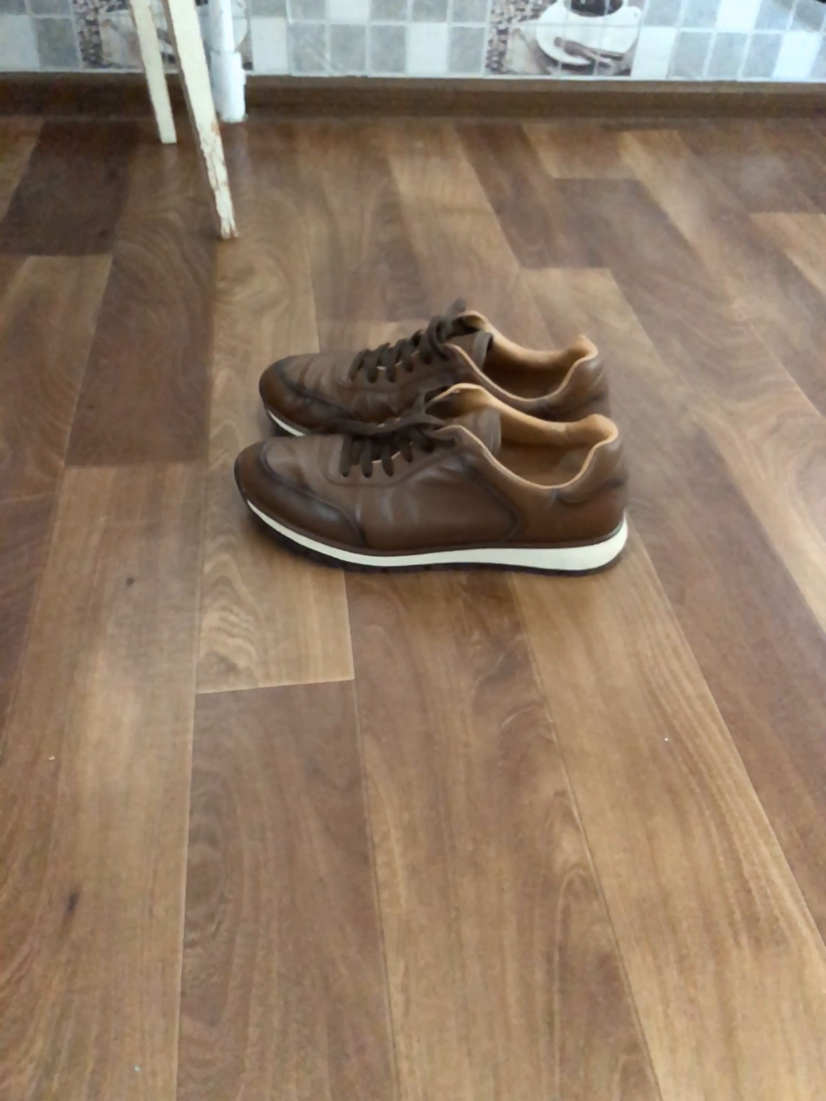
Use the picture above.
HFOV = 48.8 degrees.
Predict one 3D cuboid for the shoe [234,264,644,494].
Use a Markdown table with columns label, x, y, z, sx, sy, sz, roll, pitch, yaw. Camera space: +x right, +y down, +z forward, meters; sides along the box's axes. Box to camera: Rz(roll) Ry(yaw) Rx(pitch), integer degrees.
| label | x | y | z | sx | sy | sz | roll | pitch | yaw |
| --- | --- | --- | --- | --- | --- | --- | --- | --- | --- |
| shoe | 0.021 | -0.131 | 0.686 | 0.280 | 0.089 | 0.111 | 8 | 44 | 4 |

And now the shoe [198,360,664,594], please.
| label | x | y | z | sx | sy | sz | roll | pitch | yaw |
| --- | --- | --- | --- | --- | --- | --- | --- | --- | --- |
| shoe | 0.011 | -0.050 | 0.612 | 0.280 | 0.089 | 0.101 | 5 | 44 | 0 |
